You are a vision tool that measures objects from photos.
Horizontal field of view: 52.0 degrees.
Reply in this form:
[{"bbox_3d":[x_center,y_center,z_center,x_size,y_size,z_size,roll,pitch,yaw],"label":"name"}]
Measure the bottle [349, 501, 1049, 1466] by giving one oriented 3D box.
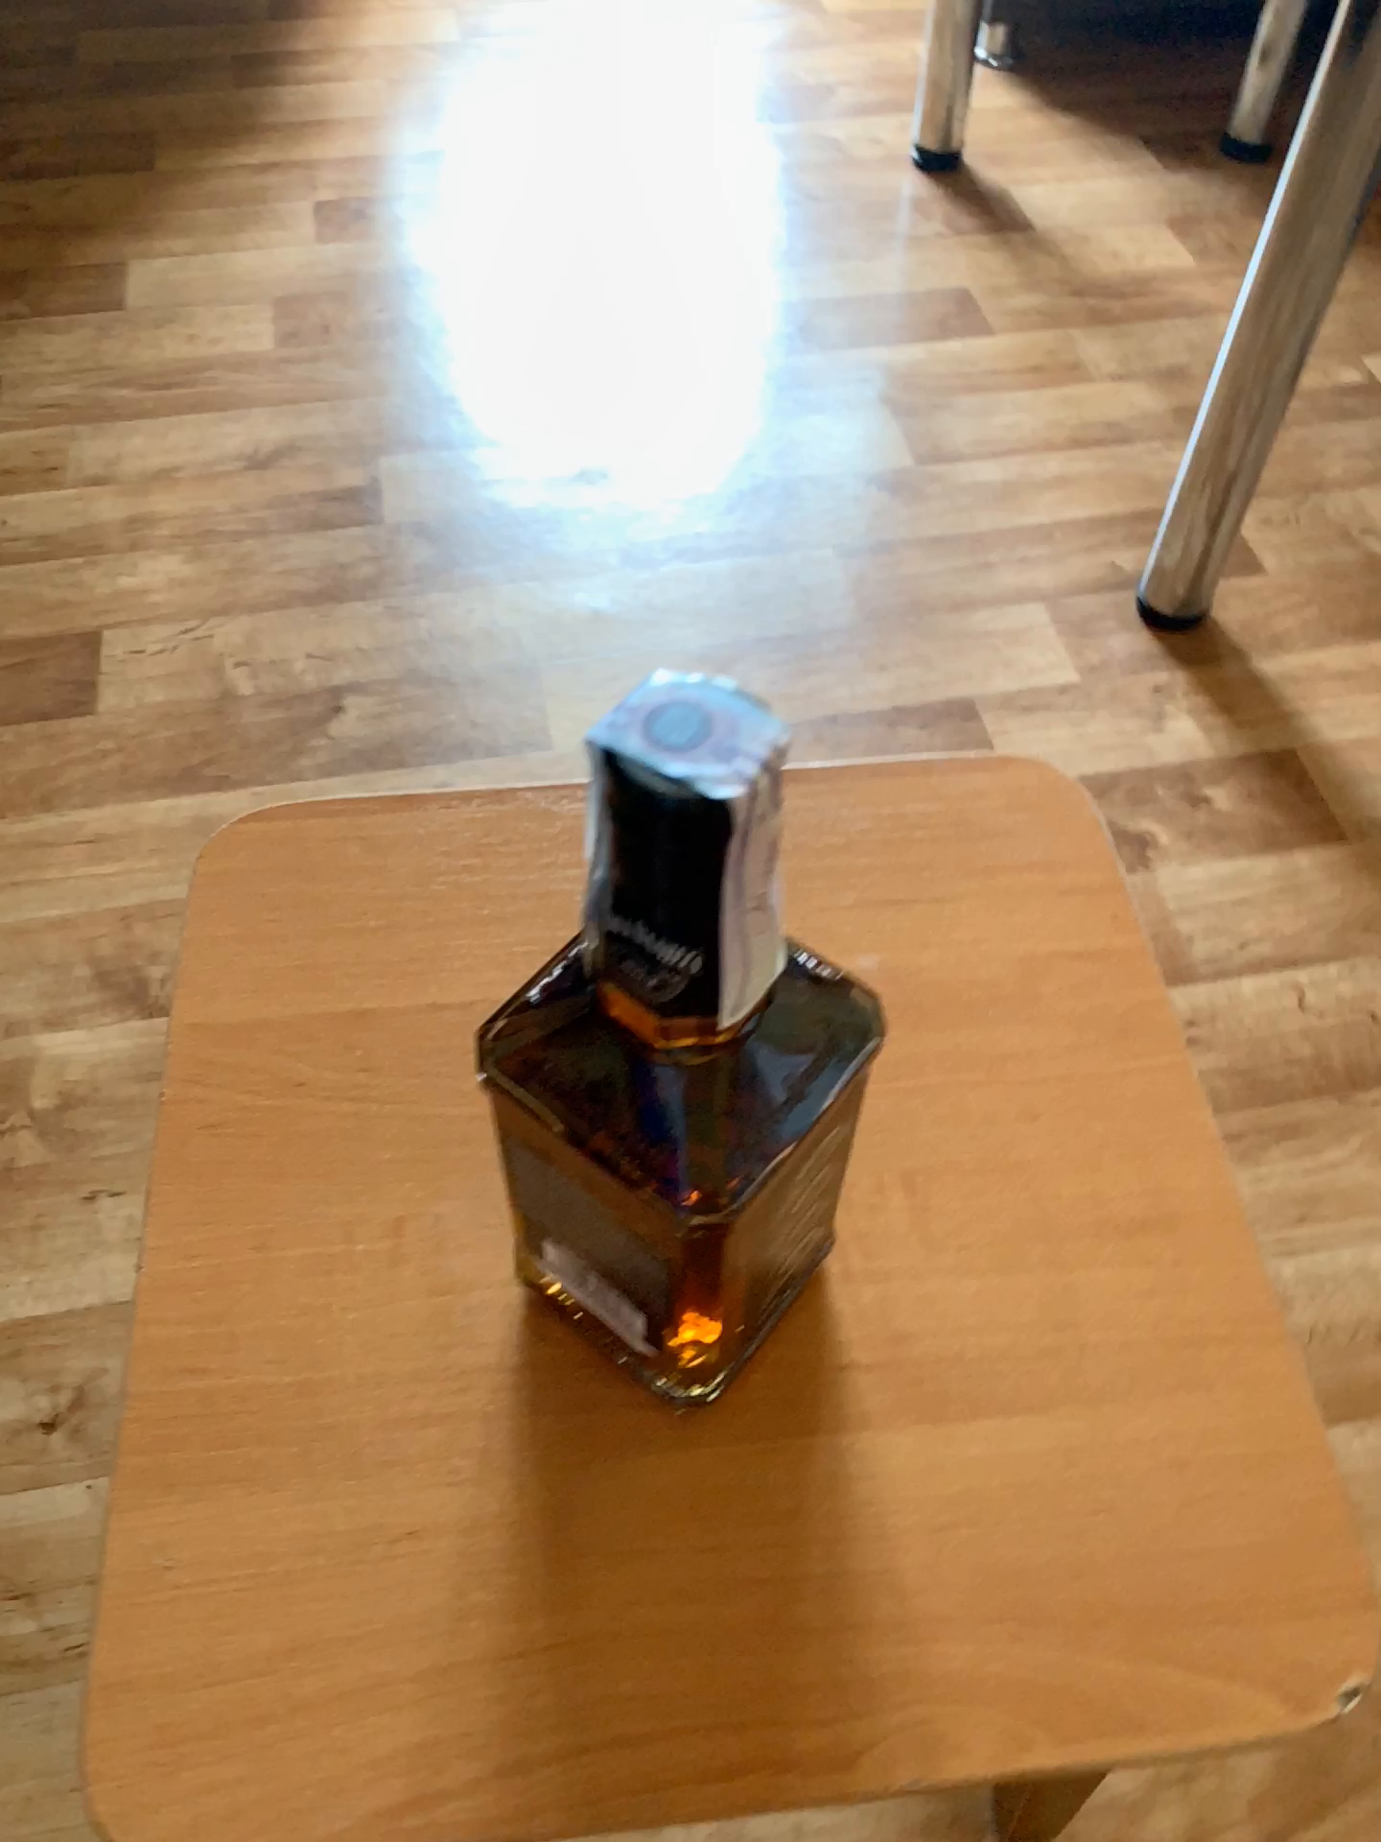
[{"bbox_3d":[0.001,0.031,0.311,0.080,0.209,0.080,0,53,-1],"label":"bottle"}]
